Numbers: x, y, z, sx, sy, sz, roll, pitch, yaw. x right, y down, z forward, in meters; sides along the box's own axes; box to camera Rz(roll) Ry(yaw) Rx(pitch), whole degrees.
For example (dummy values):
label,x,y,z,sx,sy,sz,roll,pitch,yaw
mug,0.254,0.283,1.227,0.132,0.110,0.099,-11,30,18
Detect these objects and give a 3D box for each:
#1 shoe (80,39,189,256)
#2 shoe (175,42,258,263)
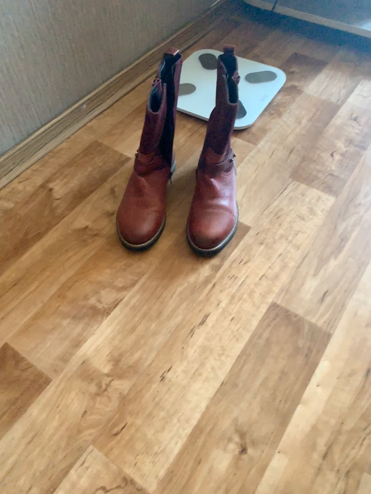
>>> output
label,x,y,z,sx,sy,sz,roll,pitch,yaw
shoe,-0.063,-0.162,0.645,0.100,0.249,0.251,6,54,6
shoe,0.053,-0.148,0.617,0.090,0.239,0.251,6,54,6
